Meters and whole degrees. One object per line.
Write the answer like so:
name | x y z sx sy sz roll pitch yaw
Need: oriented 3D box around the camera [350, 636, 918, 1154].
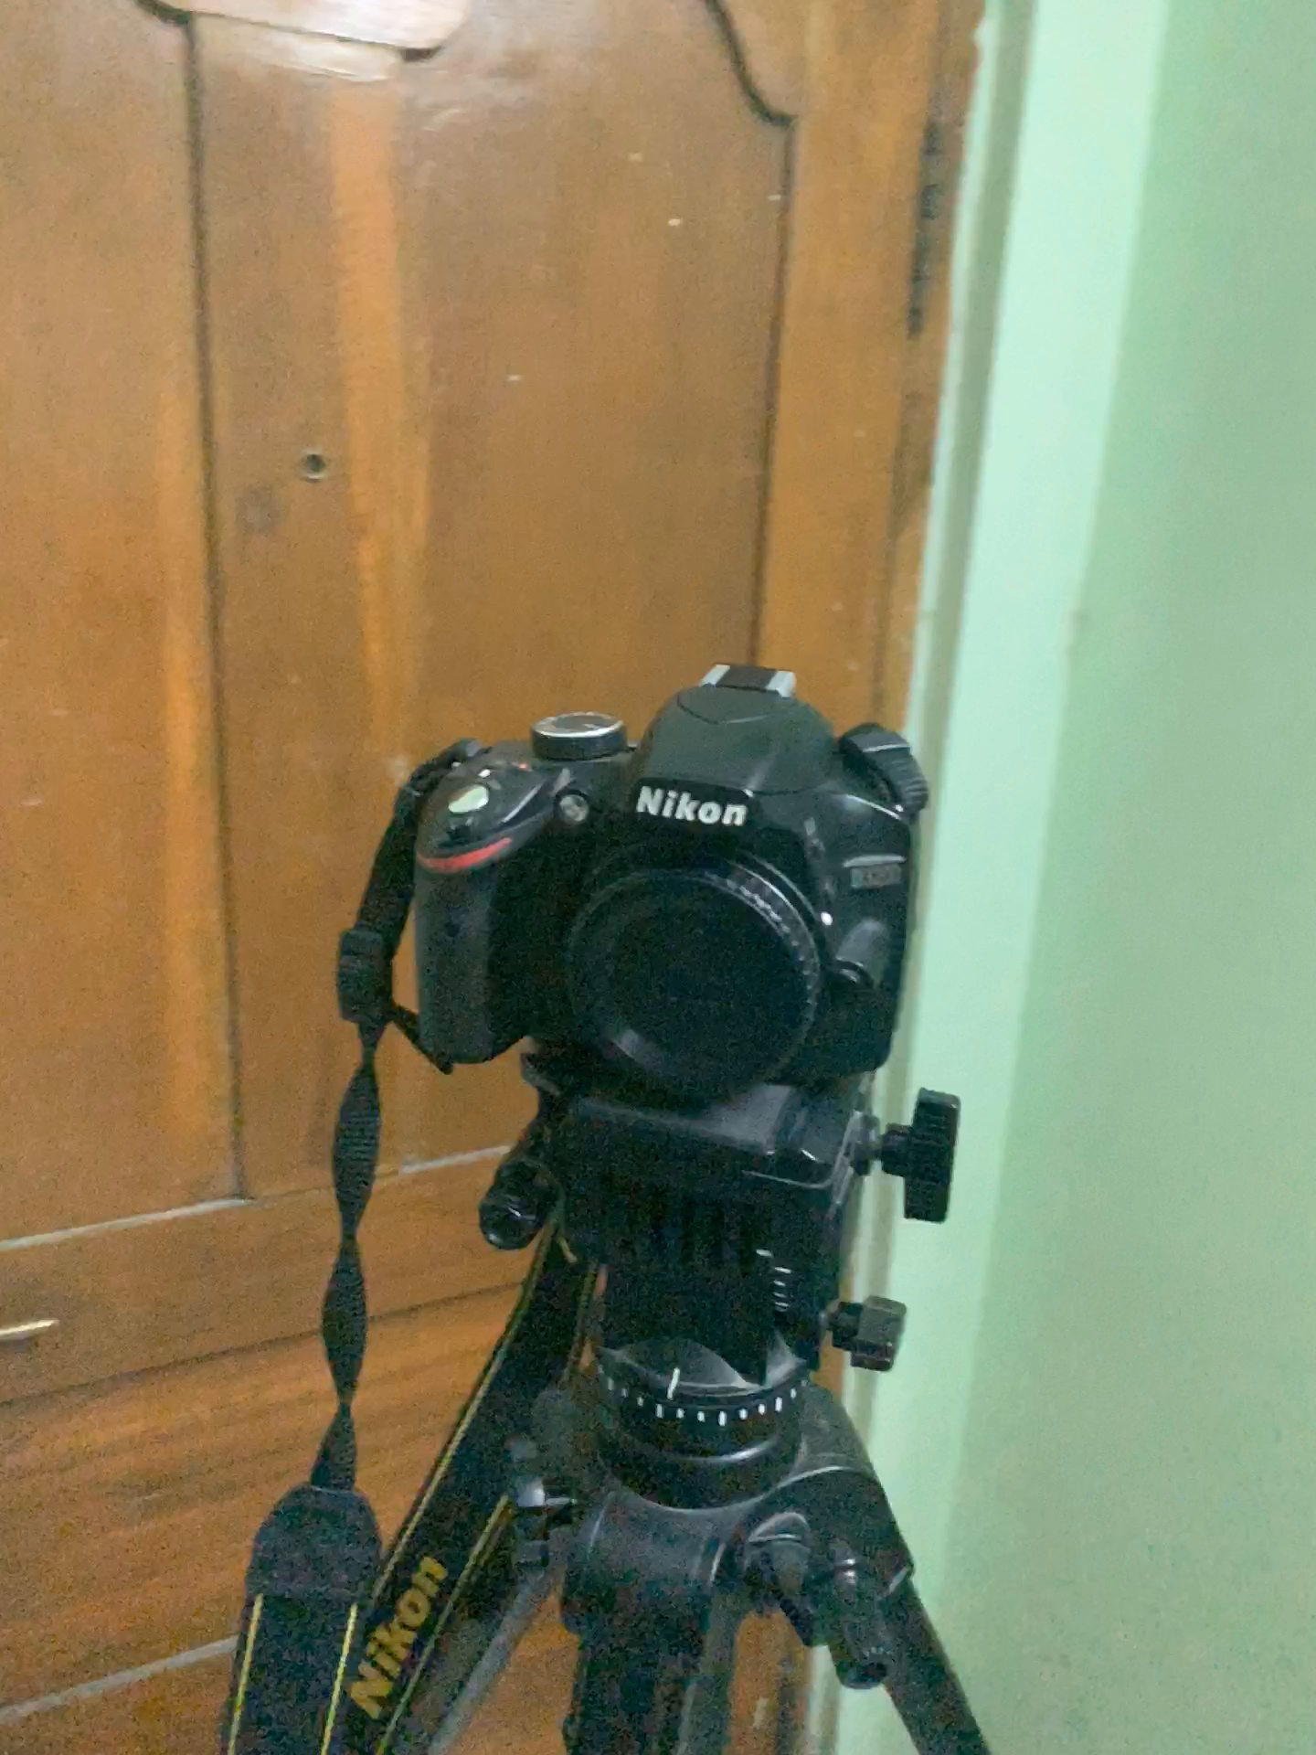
camera | -0.003 -0.003 0.340 0.118 0.096 0.086 7 17 14
